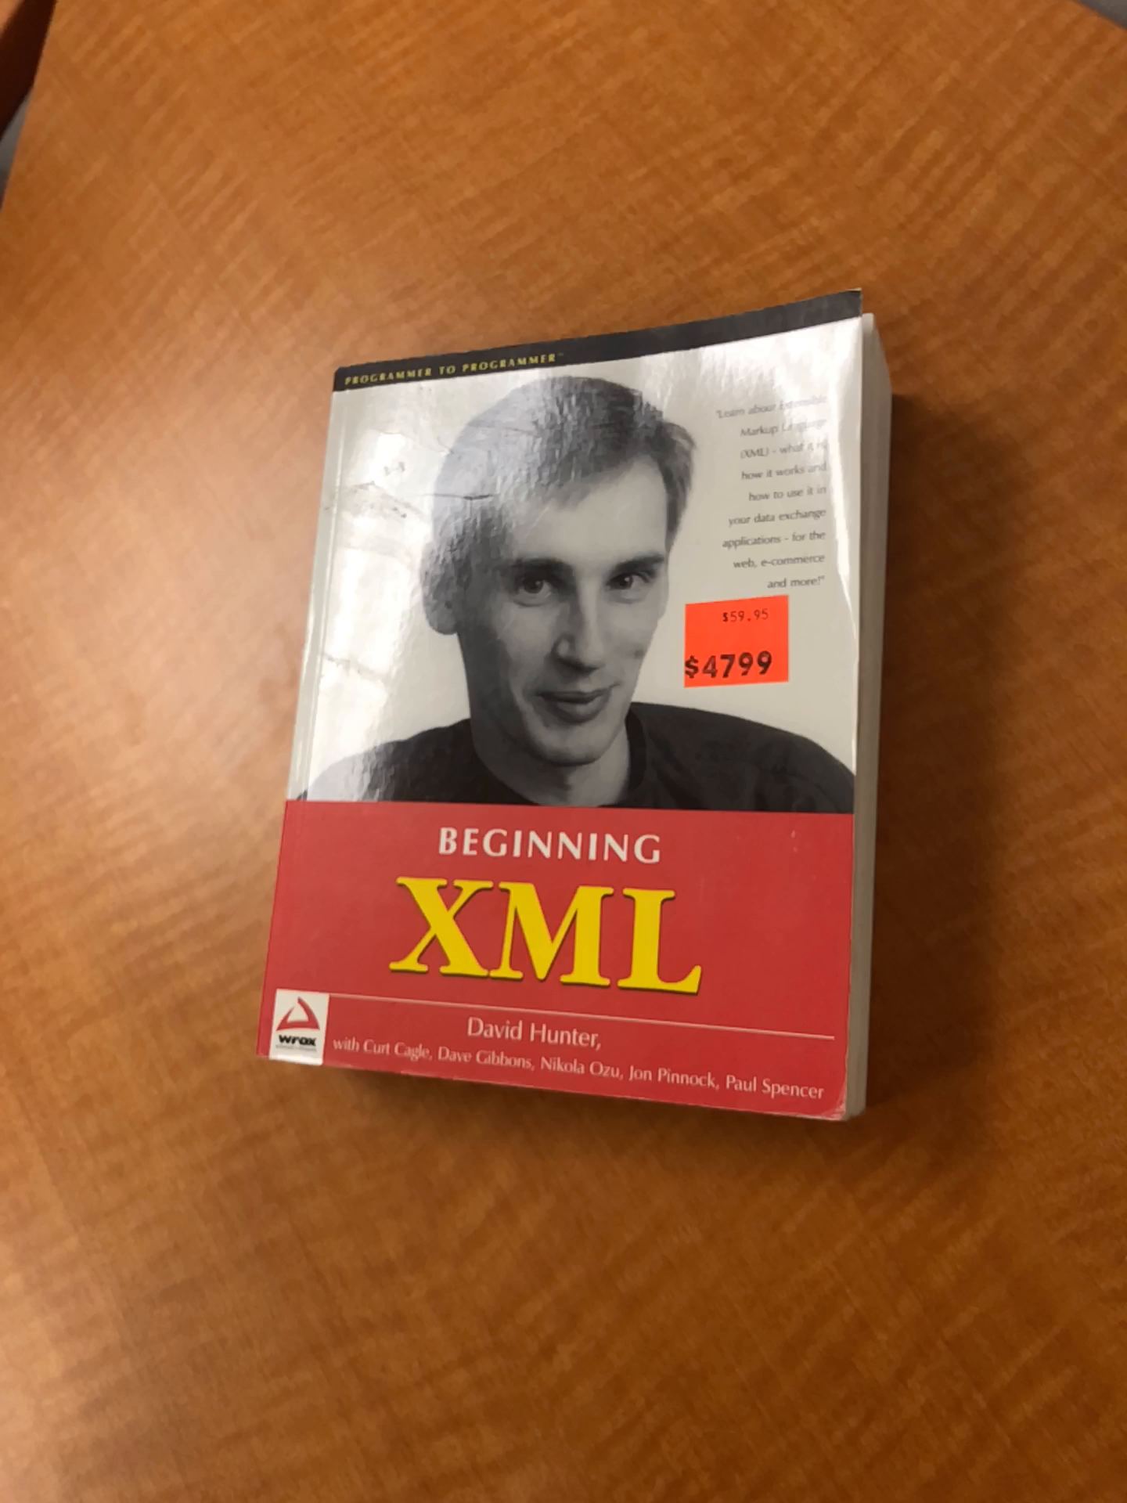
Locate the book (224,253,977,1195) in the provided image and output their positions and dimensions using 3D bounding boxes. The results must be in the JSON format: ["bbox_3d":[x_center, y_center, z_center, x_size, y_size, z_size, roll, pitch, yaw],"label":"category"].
[{"bbox_3d":[0.018,-0.013,0.421,0.220,0.070,0.270,1,79,20],"label":"book"}]
